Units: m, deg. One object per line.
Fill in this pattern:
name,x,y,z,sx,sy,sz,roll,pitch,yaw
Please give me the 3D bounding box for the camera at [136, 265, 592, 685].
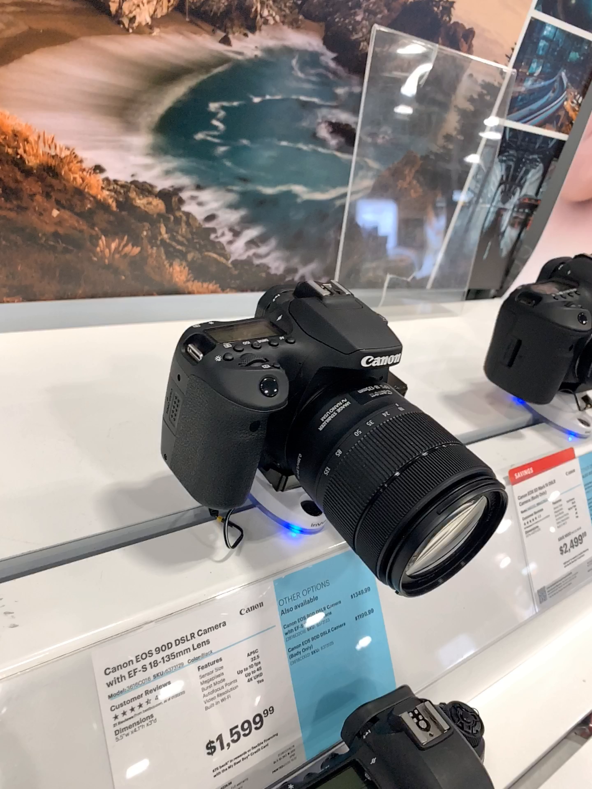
camera,0.026,0.018,0.319,0.148,0.104,0.171,-10,39,-37
